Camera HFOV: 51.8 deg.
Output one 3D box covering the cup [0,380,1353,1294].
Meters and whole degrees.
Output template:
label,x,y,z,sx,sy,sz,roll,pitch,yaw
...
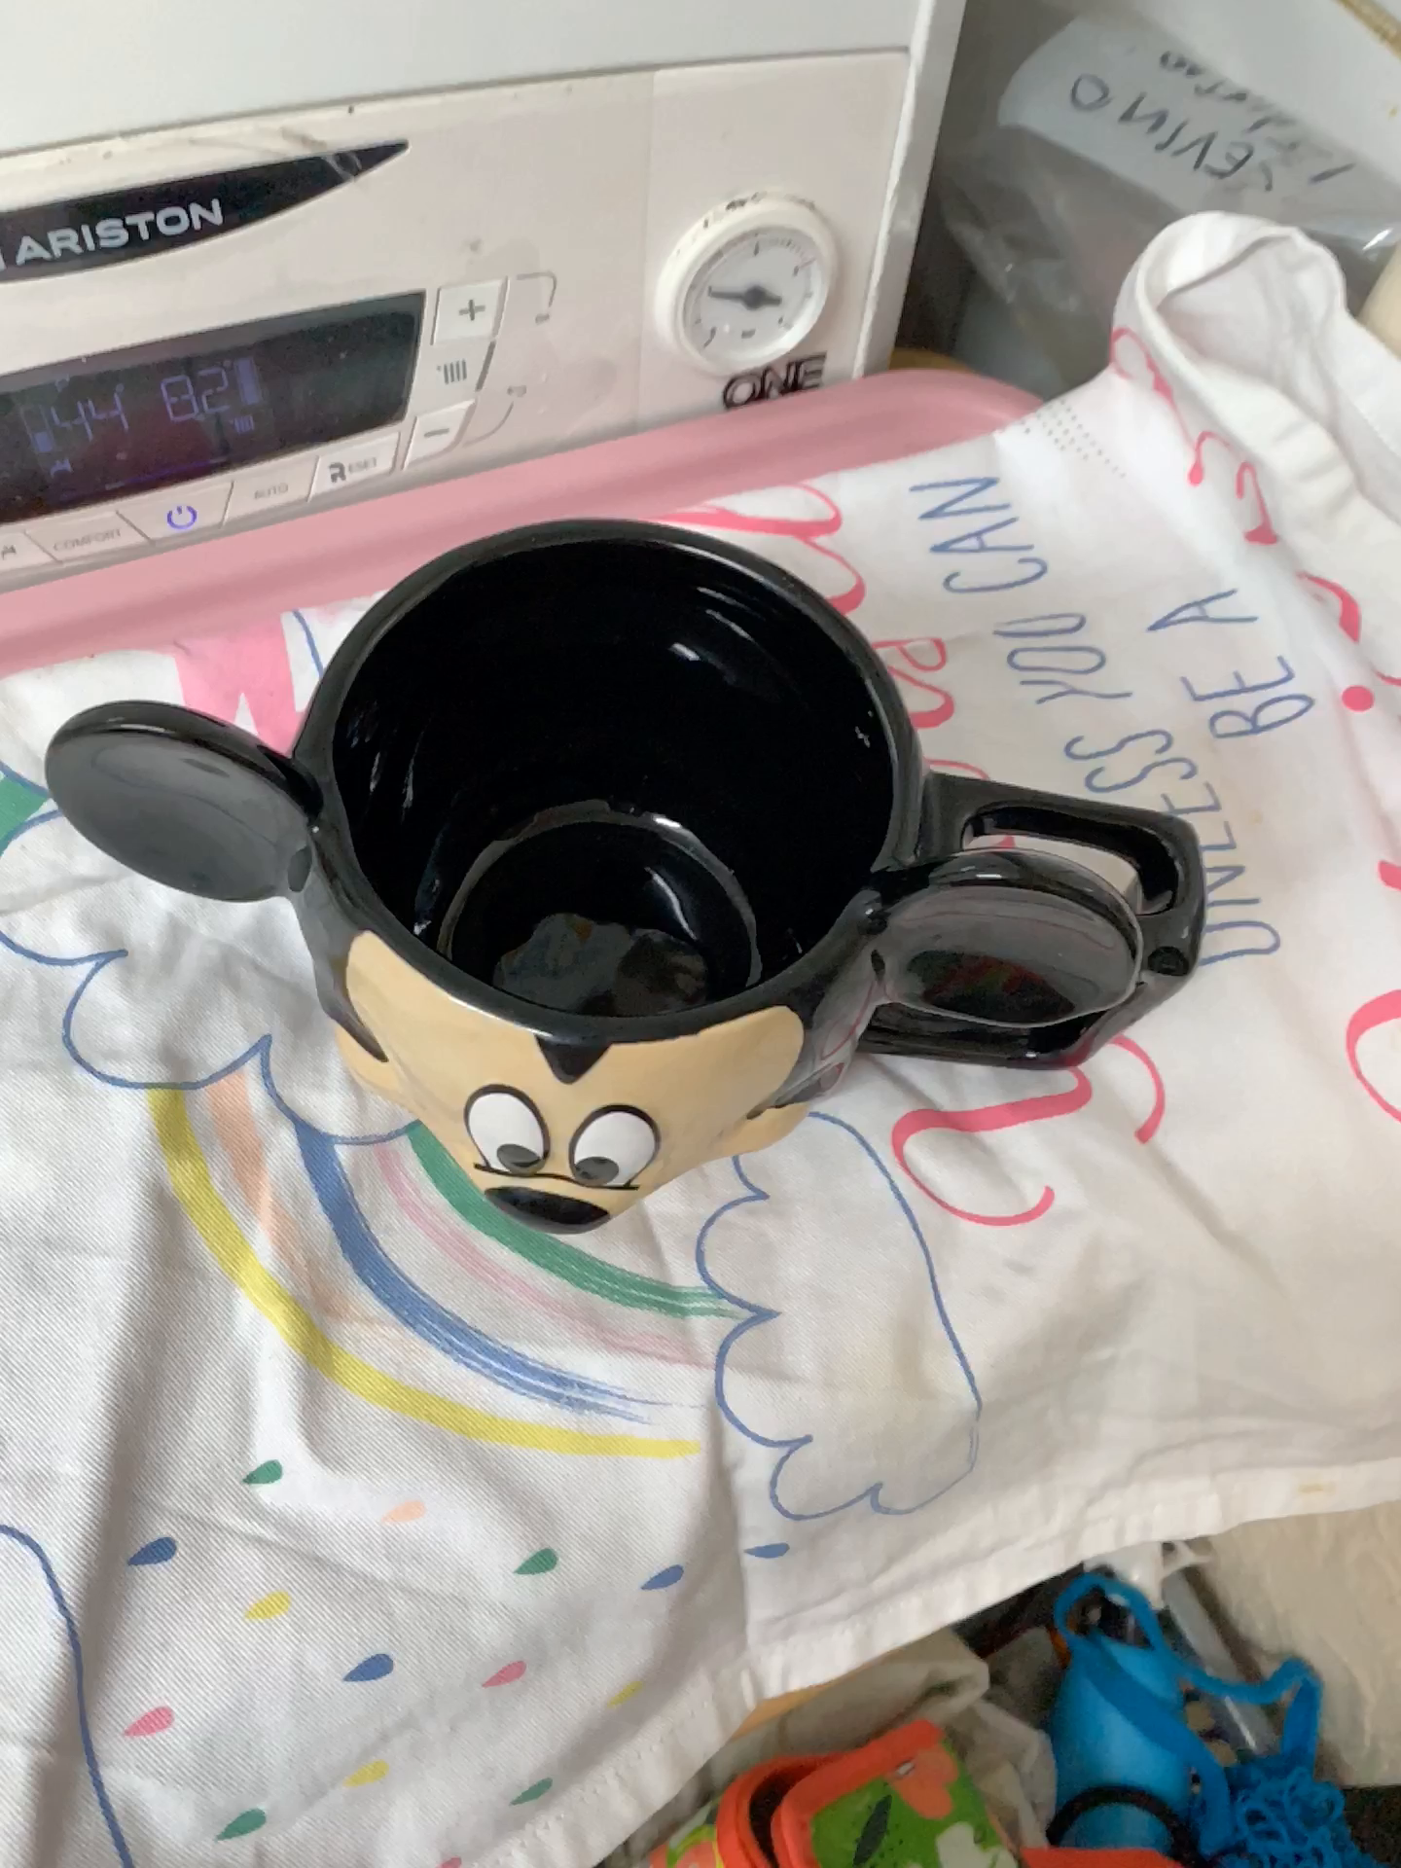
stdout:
label,x,y,z,sx,sy,sz,roll,pitch,yaw
cup,-0.009,-0.013,0.242,0.190,0.080,0.101,8,60,-1
